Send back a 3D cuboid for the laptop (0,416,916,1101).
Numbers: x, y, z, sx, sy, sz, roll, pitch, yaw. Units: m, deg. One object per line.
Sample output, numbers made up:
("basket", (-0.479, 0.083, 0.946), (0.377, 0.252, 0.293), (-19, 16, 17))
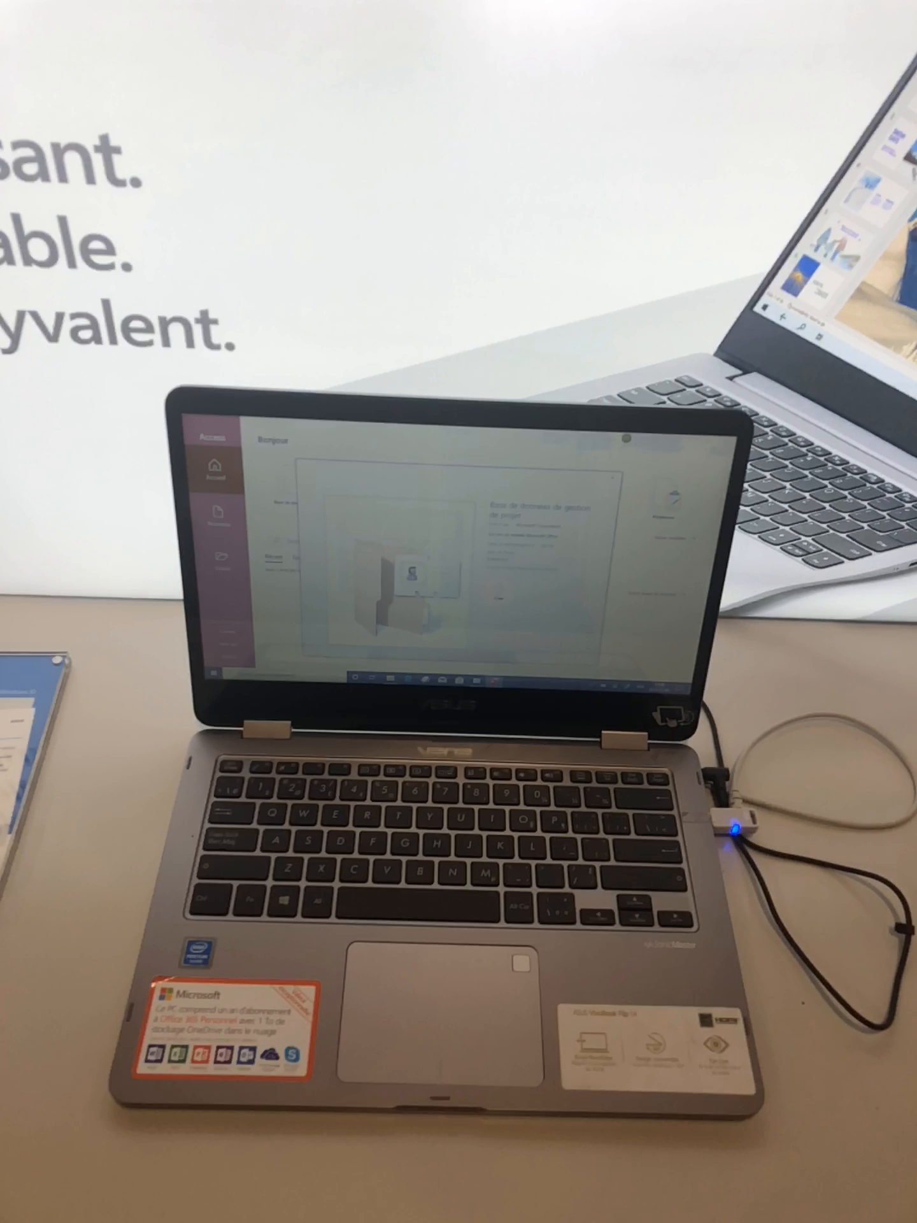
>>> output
("laptop", (-0.001, 0.070, 0.515), (0.311, 0.214, 0.274), (2, 44, -2))
